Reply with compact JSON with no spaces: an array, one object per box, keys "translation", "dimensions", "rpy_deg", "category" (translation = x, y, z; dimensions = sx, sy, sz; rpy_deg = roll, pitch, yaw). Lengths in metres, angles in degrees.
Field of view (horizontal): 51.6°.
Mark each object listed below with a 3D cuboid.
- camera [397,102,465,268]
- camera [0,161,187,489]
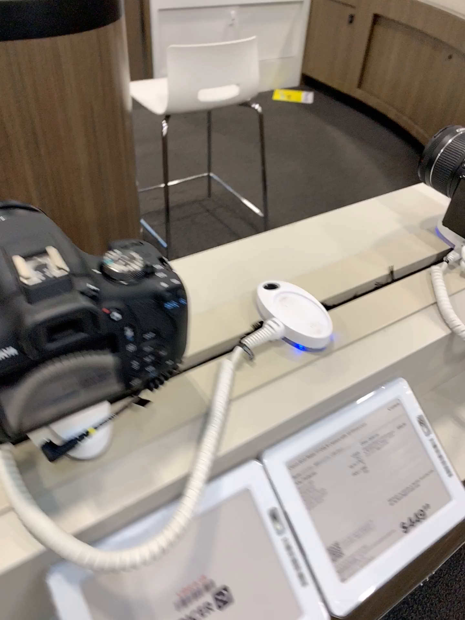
[{"translation":[0.271,-0.133,0.484],"dimensions":[0.121,0.089,0.135],"rpy_deg":[-25,50,-28],"category":"camera"},{"translation":[-0.122,-0.004,0.304],"dimensions":[0.134,0.101,0.146],"rpy_deg":[-20,48,-25],"category":"camera"}]
